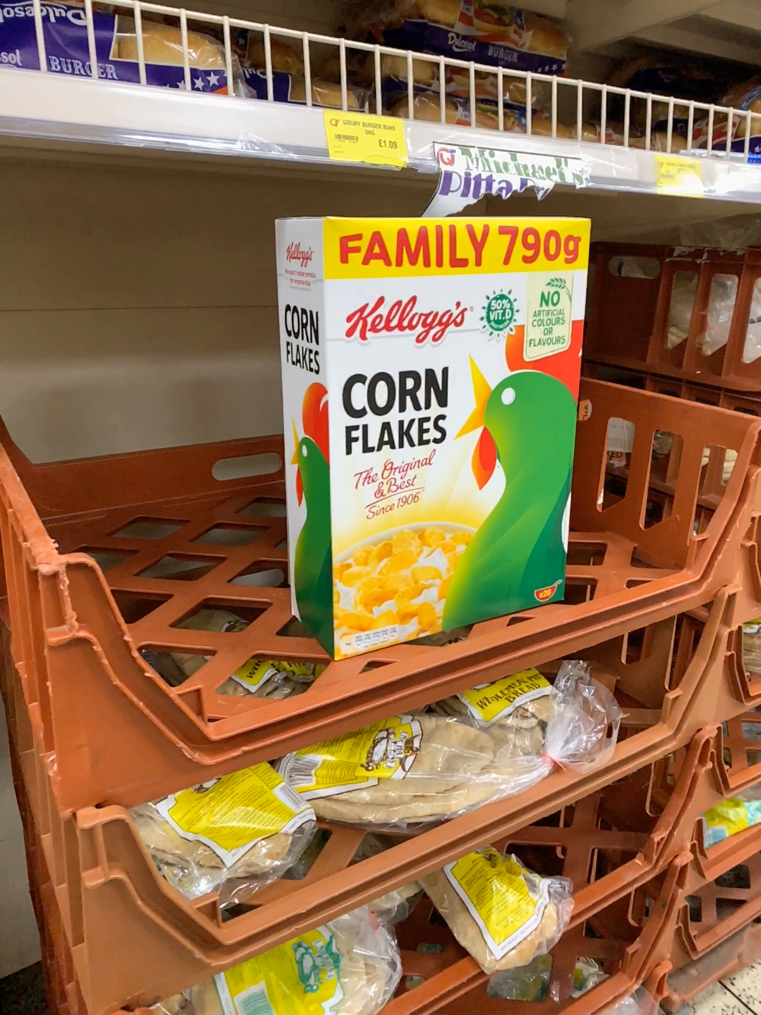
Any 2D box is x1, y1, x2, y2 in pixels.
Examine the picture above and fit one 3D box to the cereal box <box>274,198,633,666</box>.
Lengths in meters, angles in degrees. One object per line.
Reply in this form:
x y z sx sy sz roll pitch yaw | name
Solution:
0.058 -0.071 0.650 0.271 0.338 0.090 -9 22 -29 | cereal box
